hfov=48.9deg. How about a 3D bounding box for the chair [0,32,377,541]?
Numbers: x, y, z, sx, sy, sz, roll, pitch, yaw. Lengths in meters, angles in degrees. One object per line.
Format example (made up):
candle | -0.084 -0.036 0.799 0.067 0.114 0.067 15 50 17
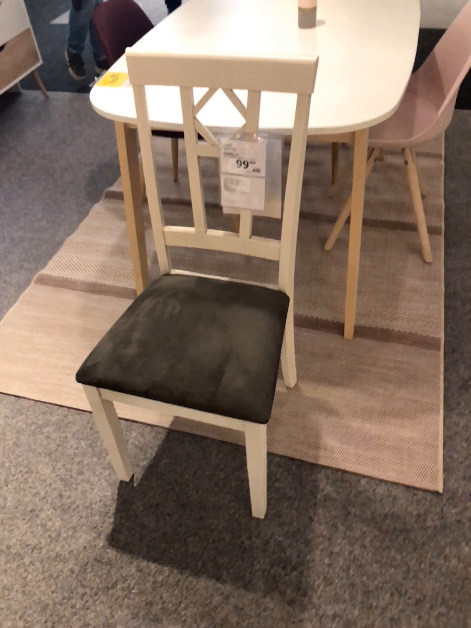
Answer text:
chair | -0.044 -0.038 1.103 0.510 0.855 0.563 10 46 15
